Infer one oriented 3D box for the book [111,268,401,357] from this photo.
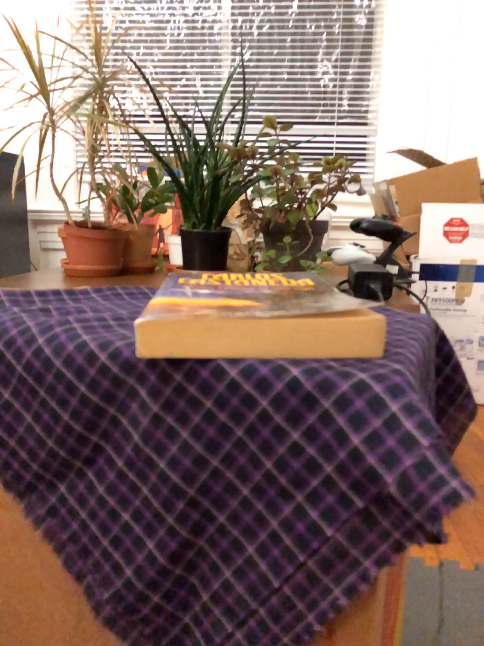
[{"bbox_3d":[0.004,-0.017,0.382,0.150,0.020,0.221,0,13,-2],"label":"book"}]
